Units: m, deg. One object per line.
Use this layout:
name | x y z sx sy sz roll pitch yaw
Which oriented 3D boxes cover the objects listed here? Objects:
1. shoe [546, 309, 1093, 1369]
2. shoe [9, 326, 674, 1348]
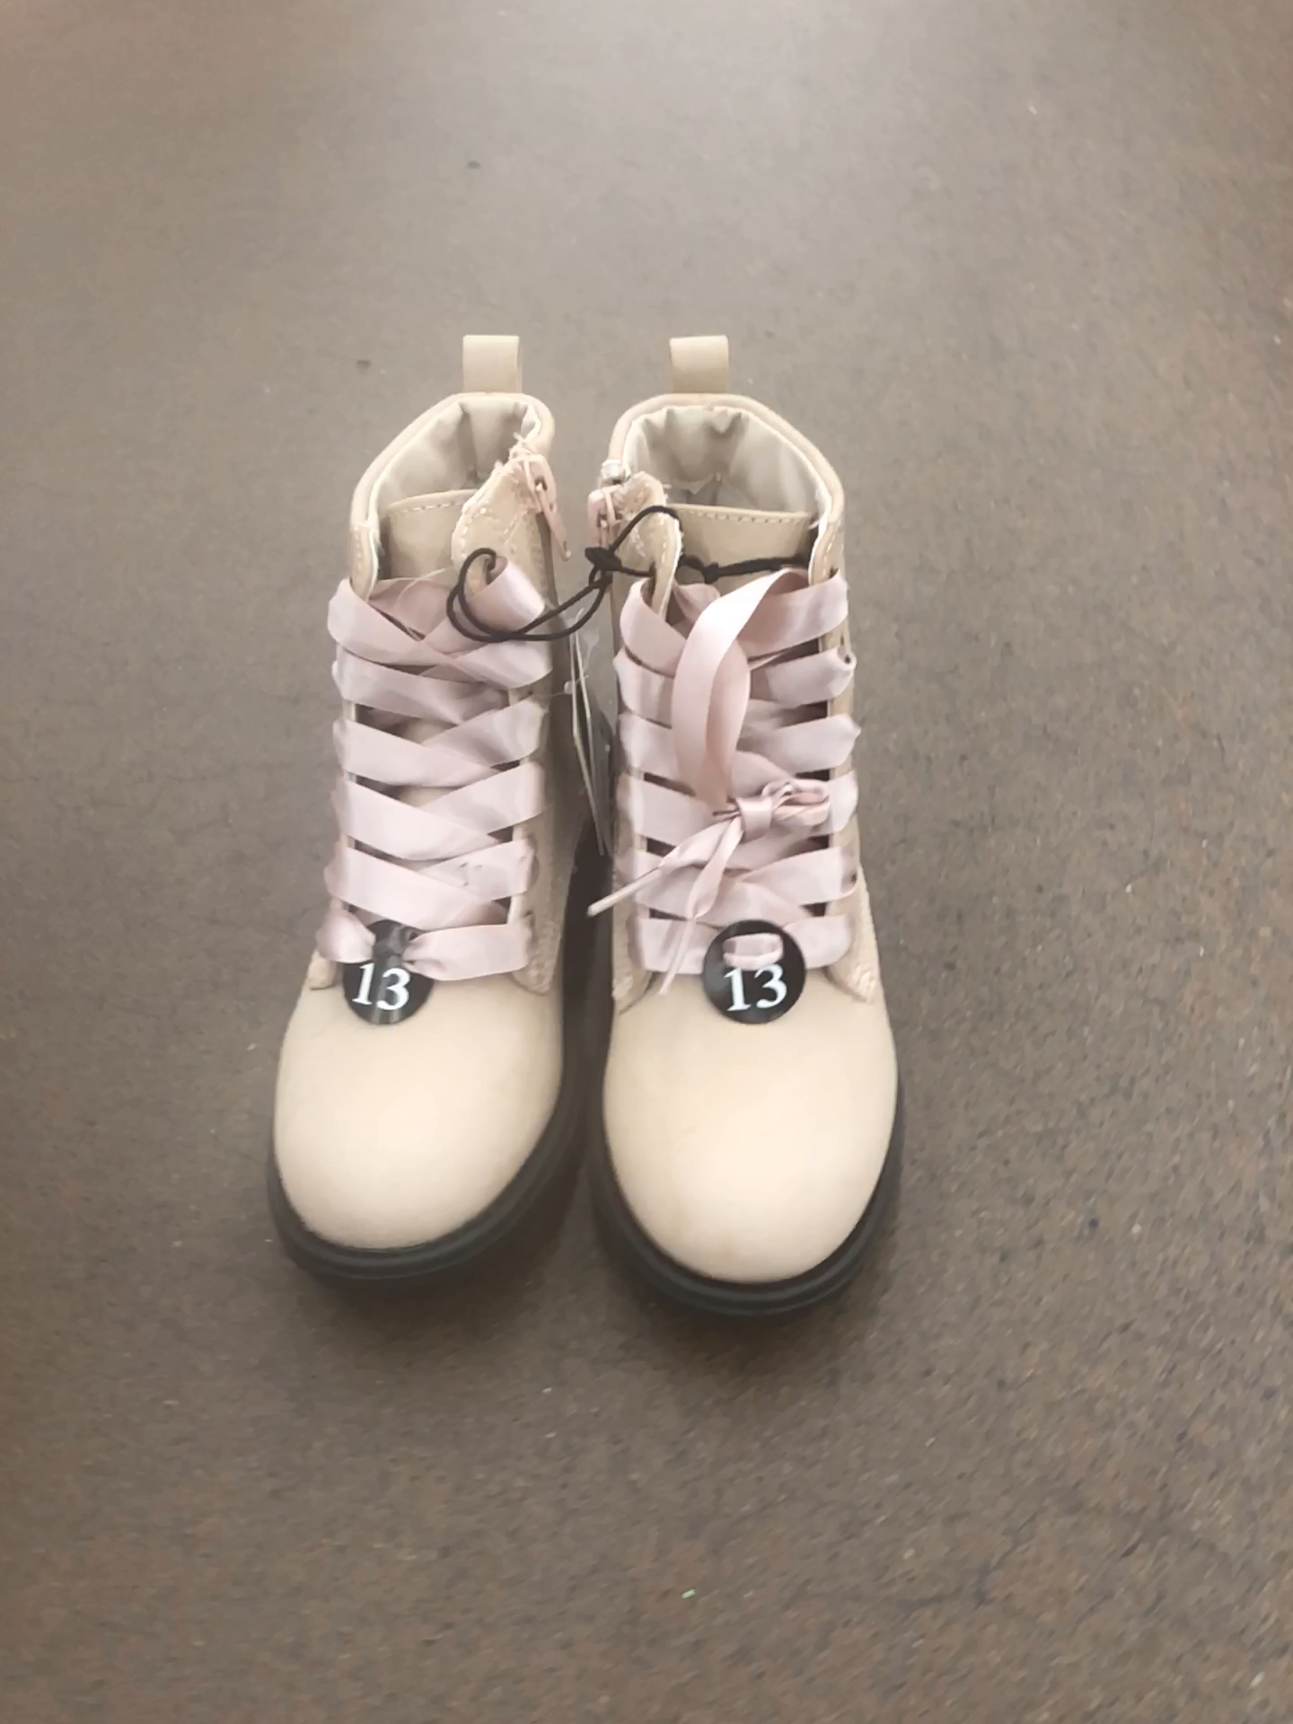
shoe | 0.030 -0.009 0.364 0.090 0.150 0.221 -2 52 1
shoe | -0.053 -0.012 0.383 0.090 0.150 0.221 5 52 7
